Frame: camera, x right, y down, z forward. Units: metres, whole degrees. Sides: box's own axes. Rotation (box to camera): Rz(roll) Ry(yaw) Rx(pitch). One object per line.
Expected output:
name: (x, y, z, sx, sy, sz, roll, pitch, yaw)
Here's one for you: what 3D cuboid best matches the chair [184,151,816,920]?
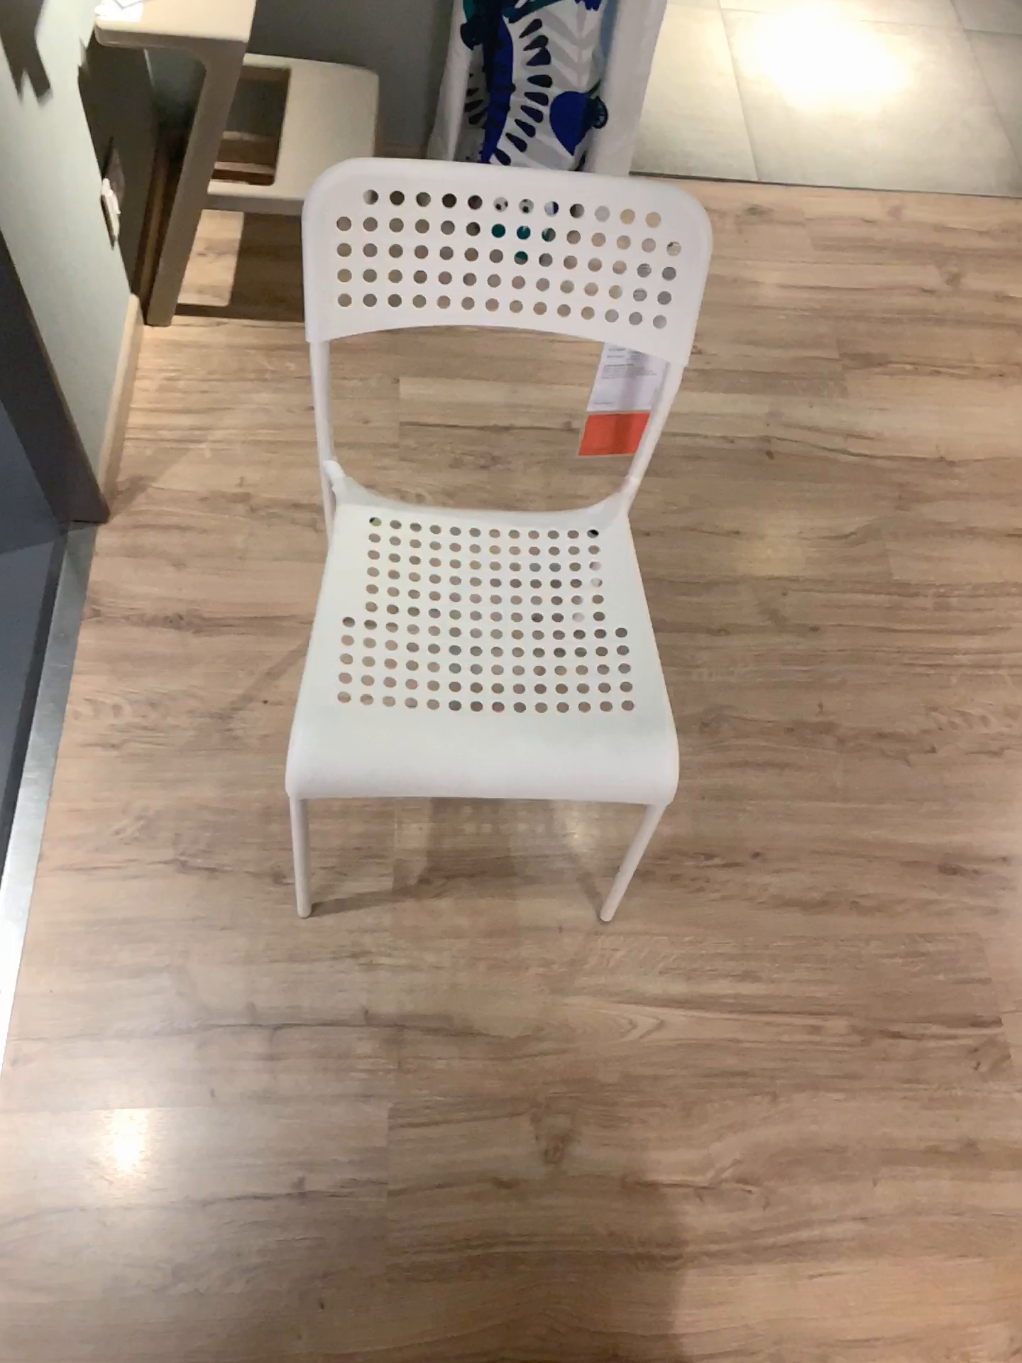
chair: (-0.040, -0.093, 1.097, 0.430, 0.609, 0.531, 1, 62, -6)
